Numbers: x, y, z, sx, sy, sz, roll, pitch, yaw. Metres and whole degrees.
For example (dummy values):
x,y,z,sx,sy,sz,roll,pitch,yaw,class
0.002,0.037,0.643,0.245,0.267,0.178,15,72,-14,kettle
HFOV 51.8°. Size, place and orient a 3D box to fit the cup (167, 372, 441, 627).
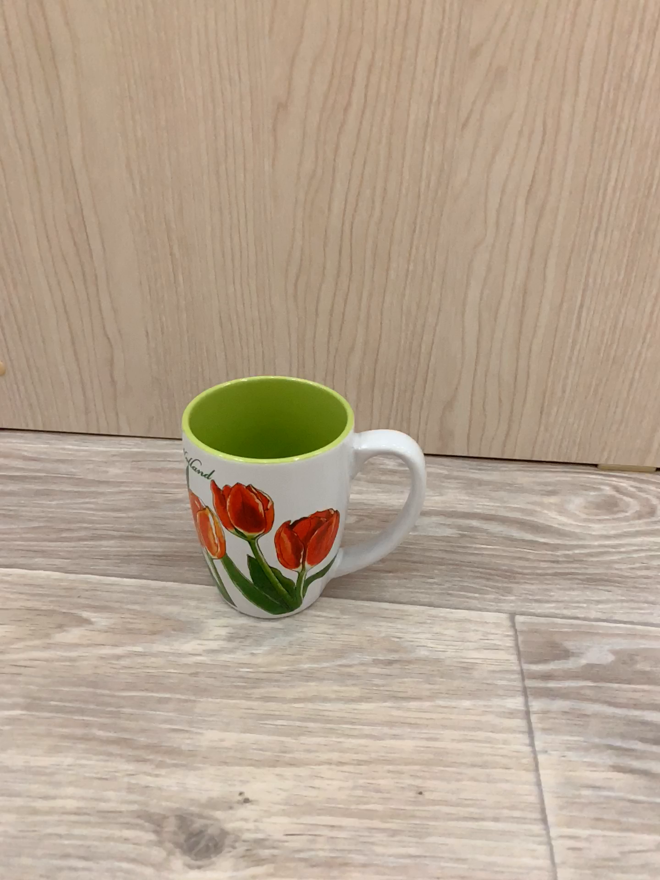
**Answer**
x,y,z,sx,sy,sz,roll,pitch,yaw,class
-0.013,0.029,0.355,0.118,0.101,0.084,0,31,-2,cup
